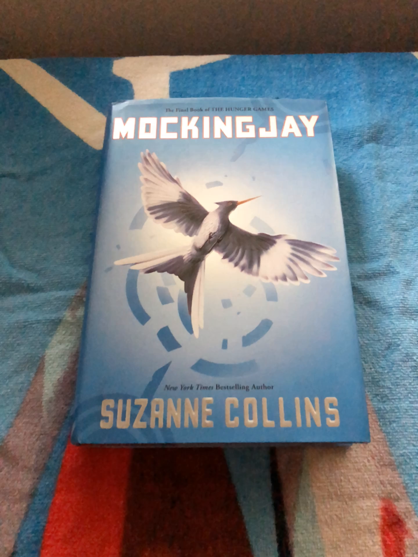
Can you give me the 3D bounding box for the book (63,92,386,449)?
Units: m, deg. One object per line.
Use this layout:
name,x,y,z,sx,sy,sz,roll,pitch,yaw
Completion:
book,0.007,-0.012,0.260,0.140,0.040,0.201,-1,66,1
